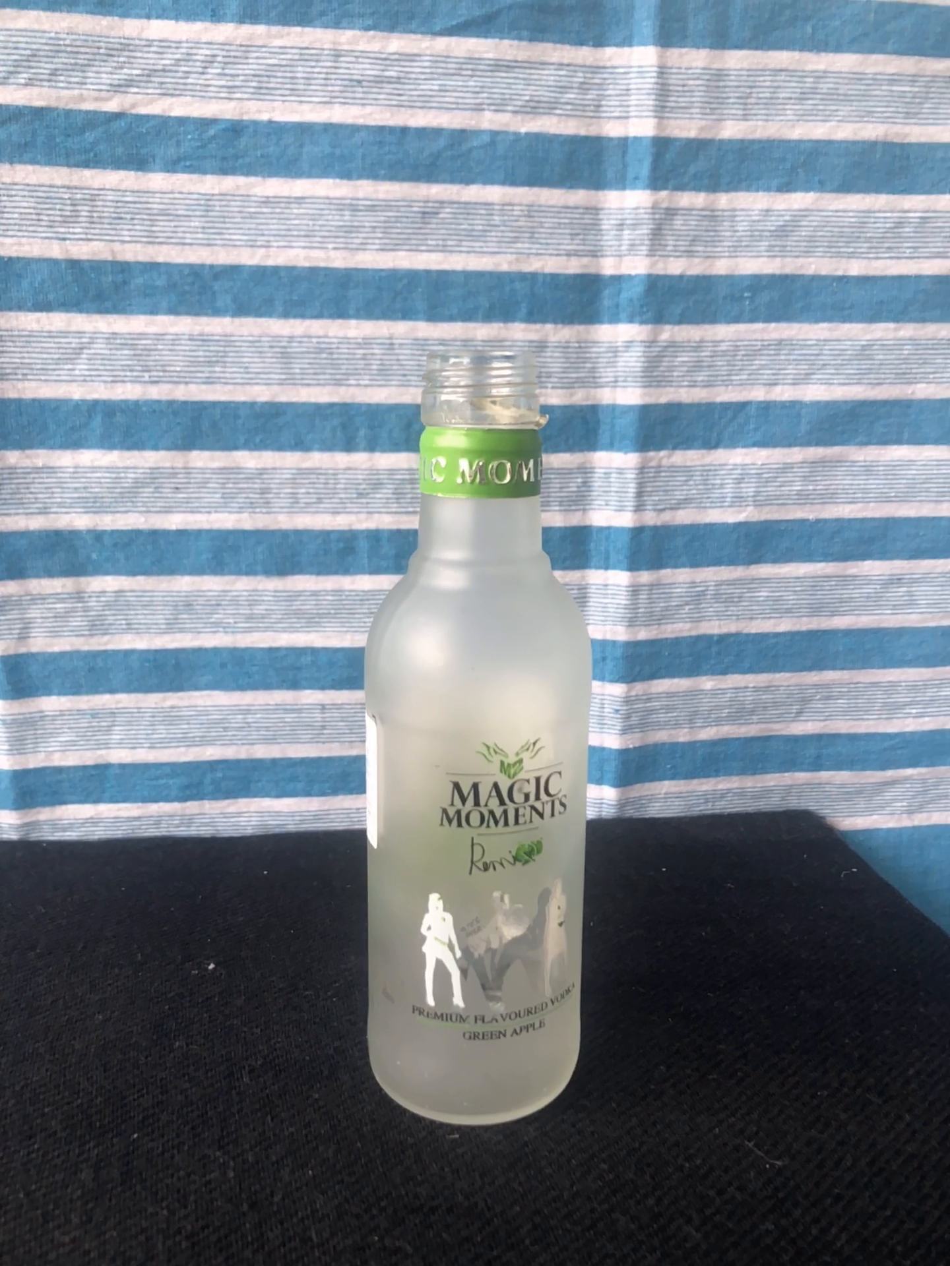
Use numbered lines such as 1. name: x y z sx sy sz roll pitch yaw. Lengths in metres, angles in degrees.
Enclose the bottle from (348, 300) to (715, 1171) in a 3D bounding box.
1. bottle: 0.004 0.017 0.199 0.050 0.149 0.050 2 15 -1
